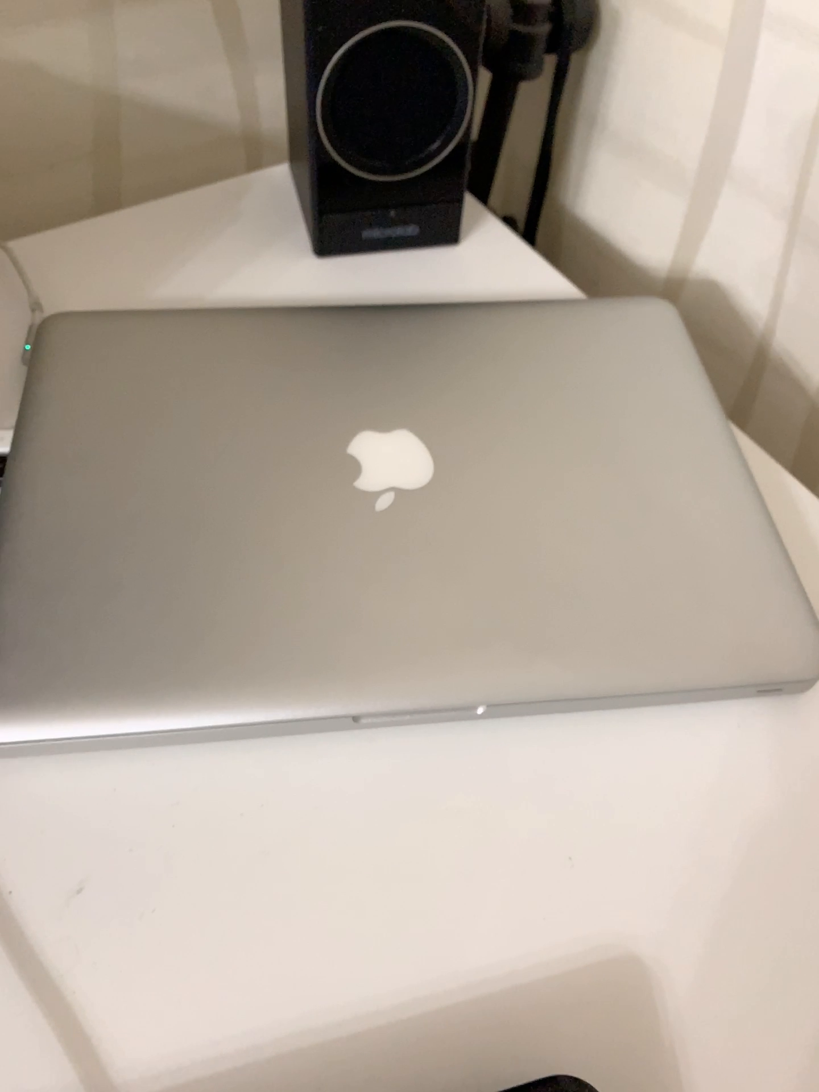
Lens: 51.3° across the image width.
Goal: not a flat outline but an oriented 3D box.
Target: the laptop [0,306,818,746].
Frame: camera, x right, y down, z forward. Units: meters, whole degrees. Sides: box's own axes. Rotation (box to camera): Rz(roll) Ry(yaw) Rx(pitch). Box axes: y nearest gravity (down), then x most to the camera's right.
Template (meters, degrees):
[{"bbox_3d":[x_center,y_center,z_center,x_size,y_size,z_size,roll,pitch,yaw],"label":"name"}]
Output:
[{"bbox_3d":[-0.007,-0.027,0.365,0.304,0.011,0.208,-3,55,-6],"label":"laptop"}]
